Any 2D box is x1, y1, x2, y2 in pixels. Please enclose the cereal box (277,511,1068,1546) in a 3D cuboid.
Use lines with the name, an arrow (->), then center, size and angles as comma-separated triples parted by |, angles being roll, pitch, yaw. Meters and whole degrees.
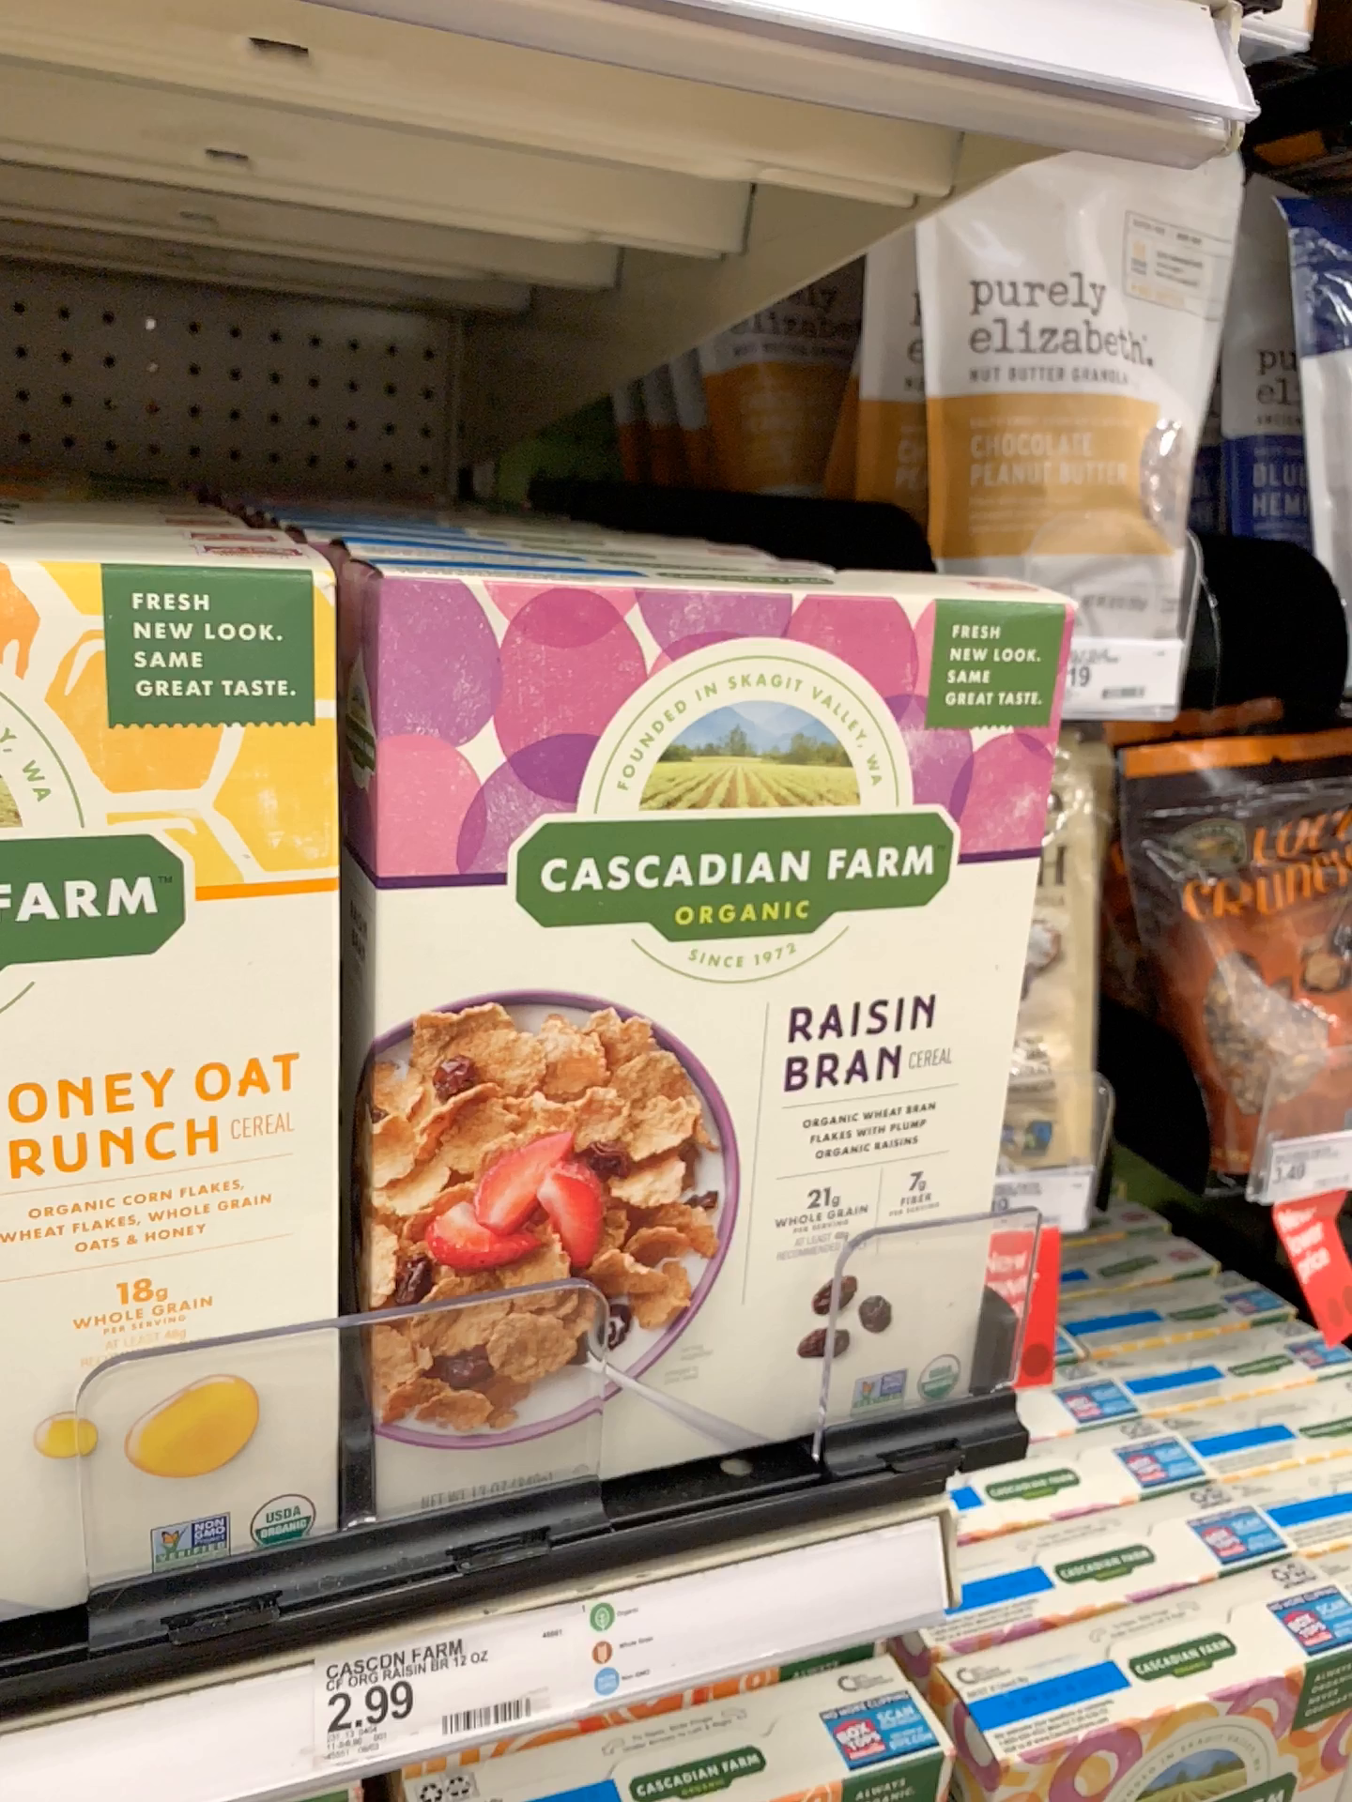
cereal box -> -0.007, 0.036, 0.404 | 0.200, 0.269, 0.050 | -2, 19, -24
